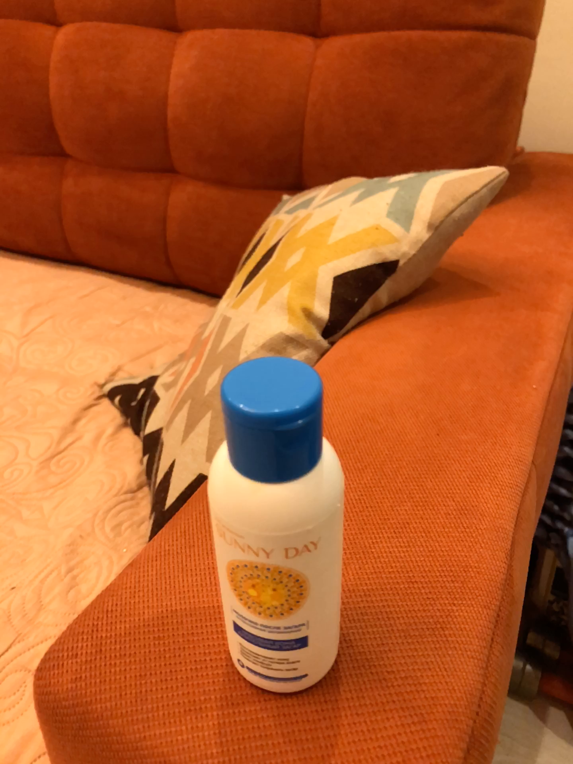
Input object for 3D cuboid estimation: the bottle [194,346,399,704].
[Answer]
[{"bbox_3d":[0.002,0.049,0.195,0.046,0.111,0.044,1,38,-1],"label":"bottle"}]
